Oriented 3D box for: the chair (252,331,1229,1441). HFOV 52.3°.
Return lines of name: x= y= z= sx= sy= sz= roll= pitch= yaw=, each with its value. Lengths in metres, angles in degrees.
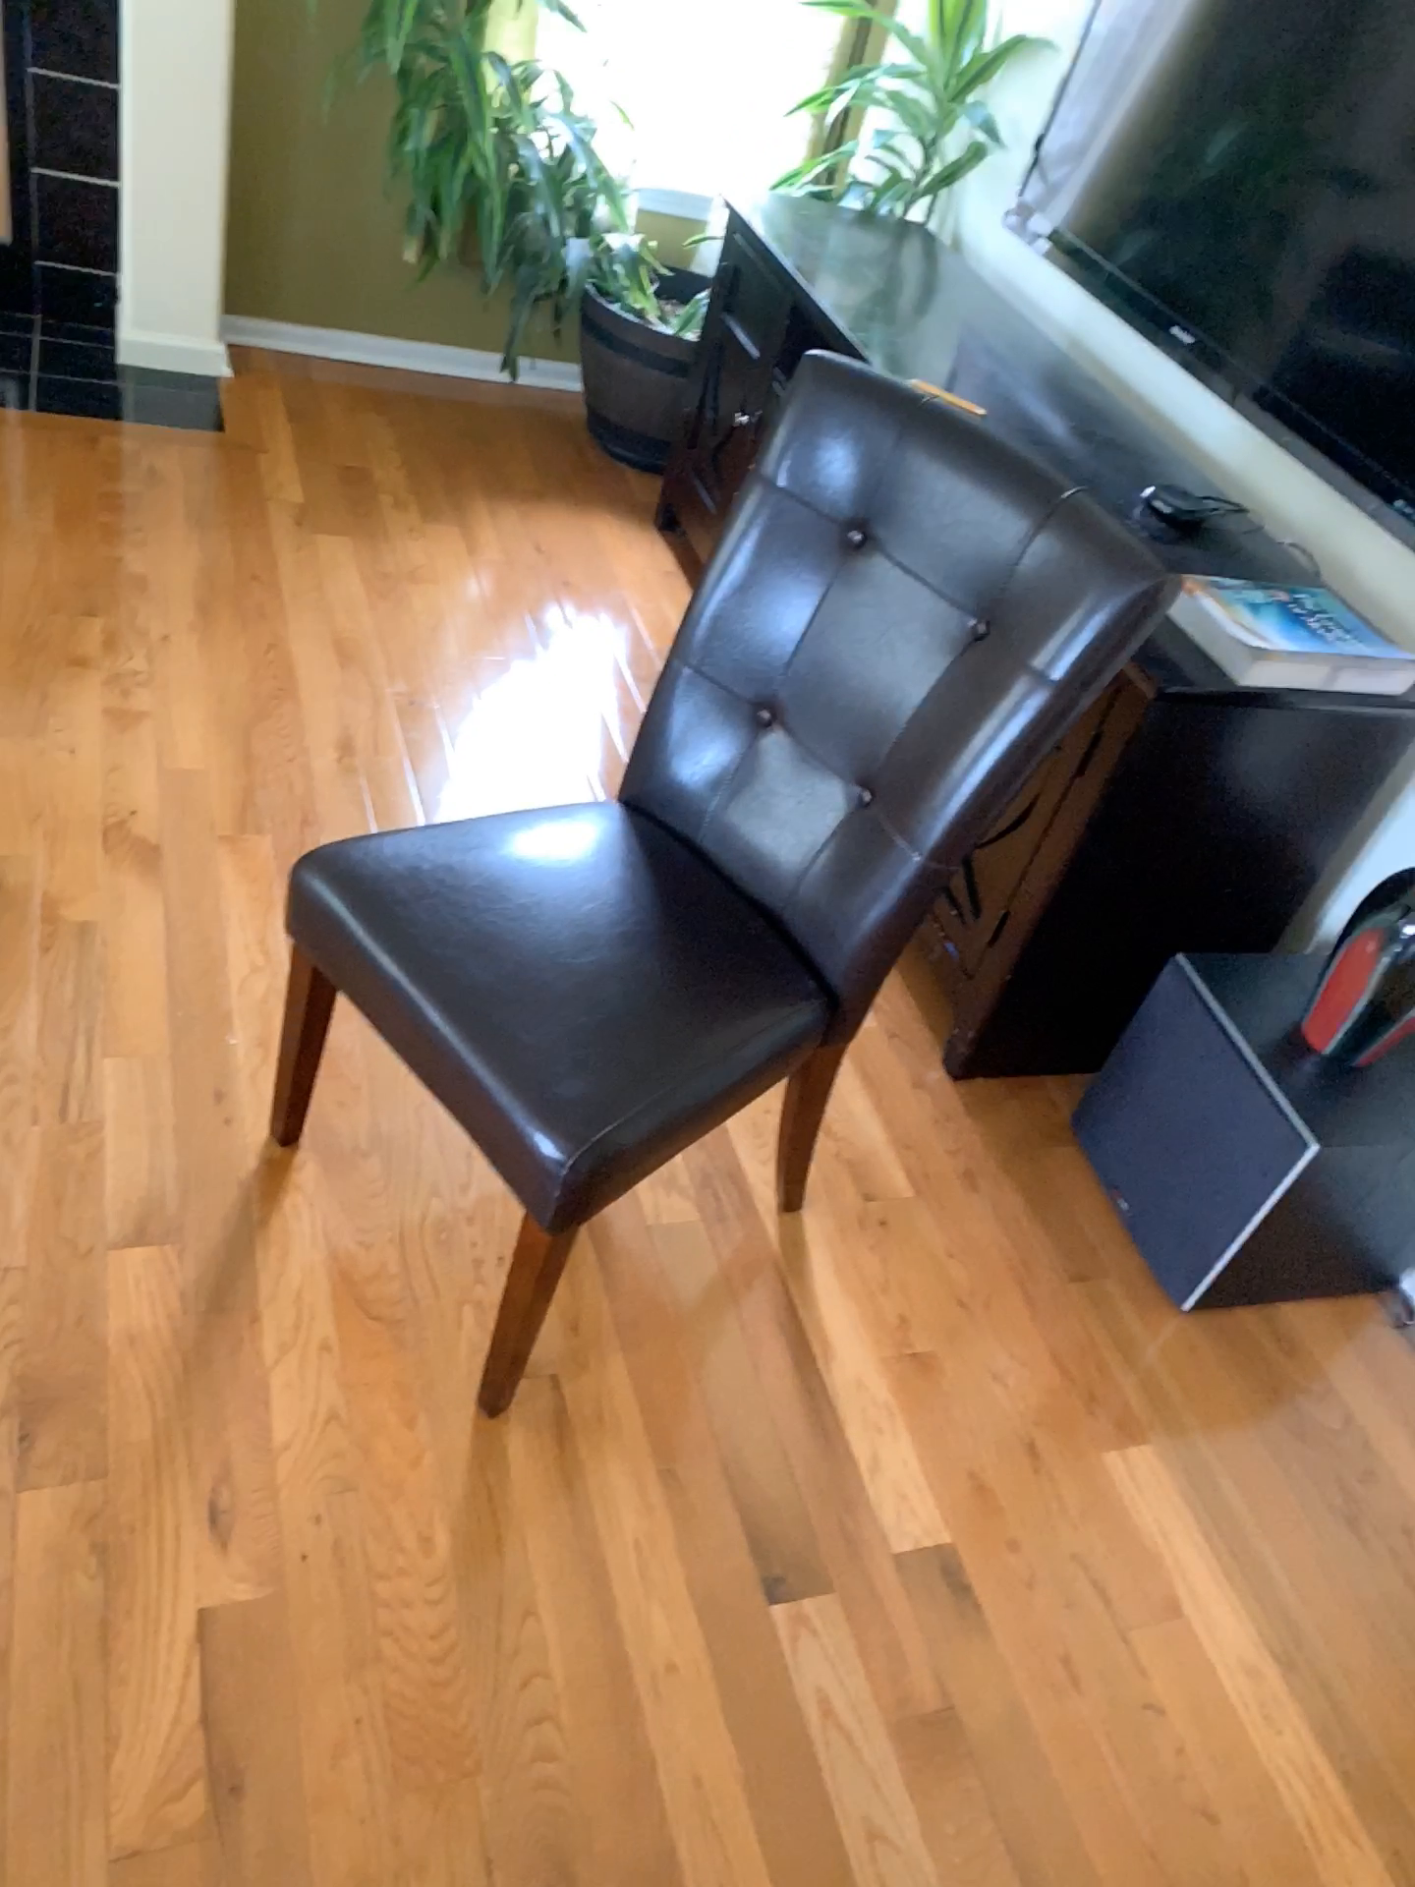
chair: x=-0.029 y=-0.077 z=1.593 sx=0.705 sy=0.968 sz=0.498 roll=-22 pitch=54 yaw=-39
